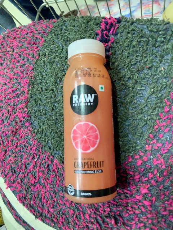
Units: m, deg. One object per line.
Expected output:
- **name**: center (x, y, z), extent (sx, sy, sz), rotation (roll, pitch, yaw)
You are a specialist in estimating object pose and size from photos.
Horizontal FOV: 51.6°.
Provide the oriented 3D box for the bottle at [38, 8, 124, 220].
- **bottle**: center (0.001, -0.003, 0.170), extent (0.060, 0.060, 0.160), rotation (-2, 80, 16)
